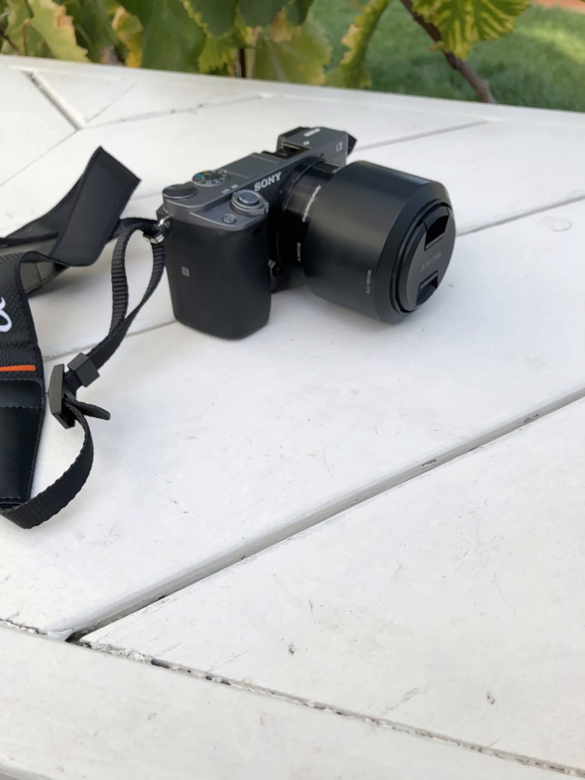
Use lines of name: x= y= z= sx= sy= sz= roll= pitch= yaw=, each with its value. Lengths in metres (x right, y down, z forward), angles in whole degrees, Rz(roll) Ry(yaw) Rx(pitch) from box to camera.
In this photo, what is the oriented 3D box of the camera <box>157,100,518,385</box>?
camera: x=0.025 y=-0.085 z=0.328 sx=0.110 sy=0.070 sz=0.141 roll=26 pitch=44 yaw=28
